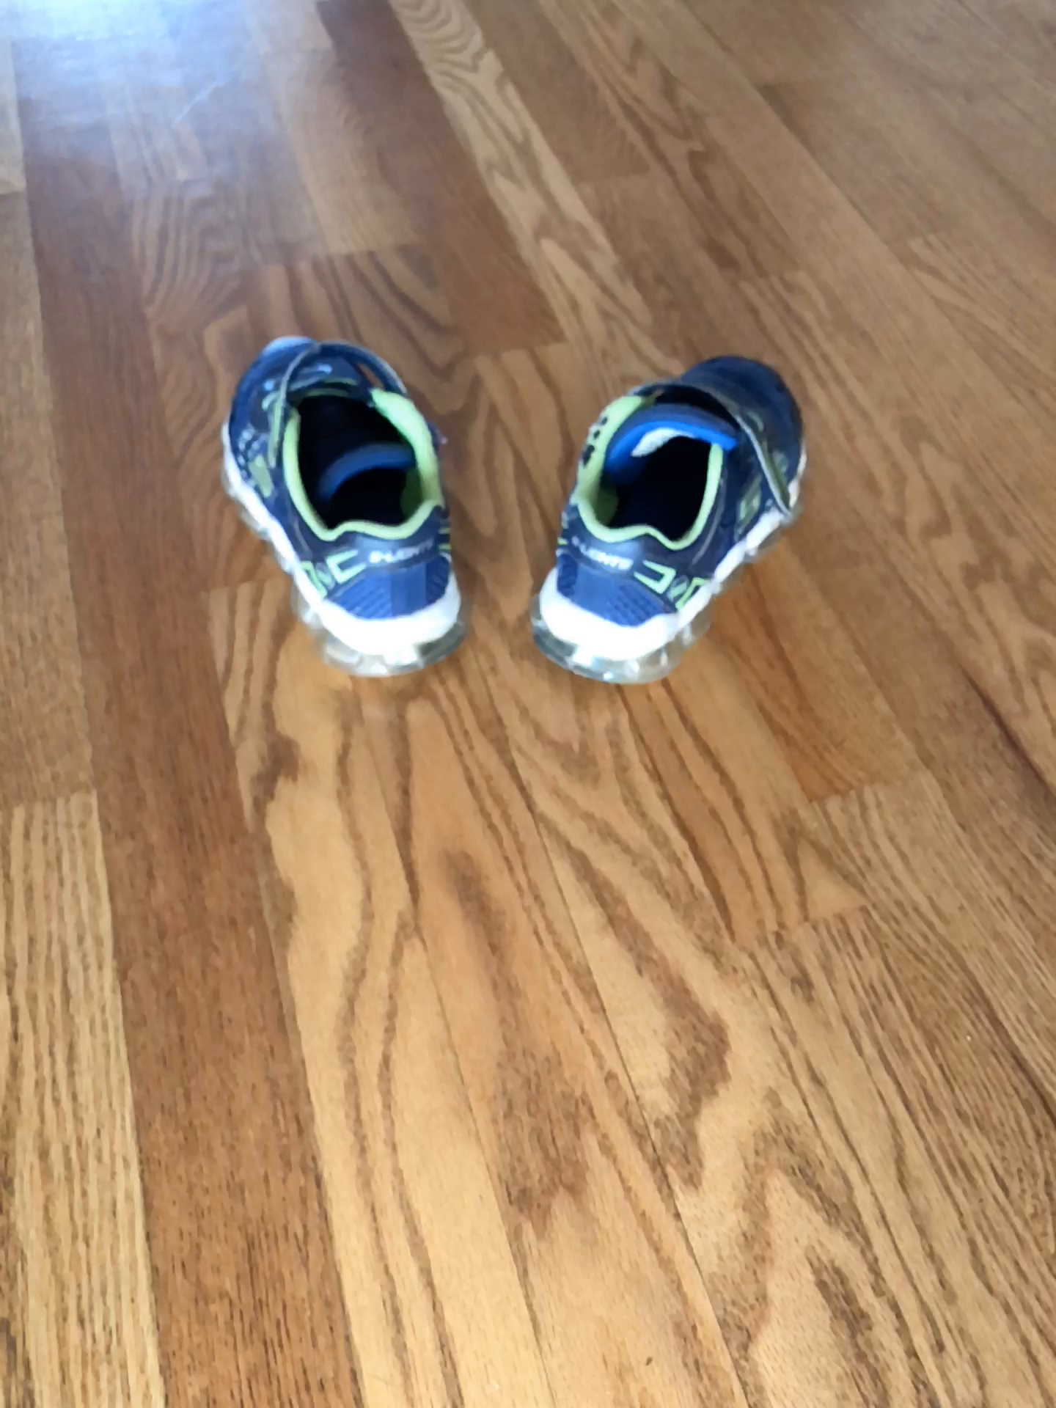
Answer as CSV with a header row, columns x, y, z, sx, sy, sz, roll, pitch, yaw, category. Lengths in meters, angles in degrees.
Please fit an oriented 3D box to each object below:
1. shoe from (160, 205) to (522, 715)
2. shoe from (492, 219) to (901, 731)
x,y,z,sx,sy,sz,roll,pitch,yaw,category
-0.085,-0.113,0.516,0.093,0.095,0.203,-17,56,-14,shoe
0.076,-0.108,0.514,0.093,0.087,0.213,23,56,14,shoe
